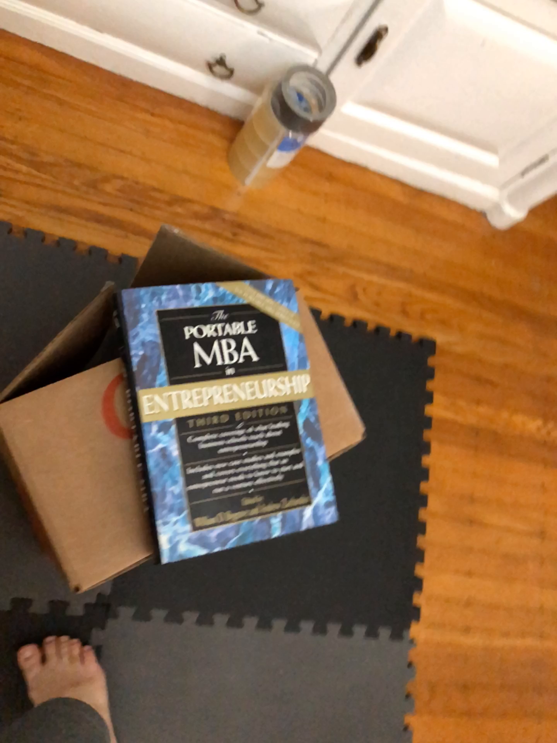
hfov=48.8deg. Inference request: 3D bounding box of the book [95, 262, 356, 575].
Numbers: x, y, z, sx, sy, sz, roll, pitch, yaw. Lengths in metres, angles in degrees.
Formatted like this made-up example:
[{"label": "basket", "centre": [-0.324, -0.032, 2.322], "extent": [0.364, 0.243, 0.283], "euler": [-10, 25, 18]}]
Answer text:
[{"label": "book", "centre": [-0.053, 0.035, 0.612], "extent": [0.210, 0.060, 0.270], "euler": [-7, 83, -24]}]
